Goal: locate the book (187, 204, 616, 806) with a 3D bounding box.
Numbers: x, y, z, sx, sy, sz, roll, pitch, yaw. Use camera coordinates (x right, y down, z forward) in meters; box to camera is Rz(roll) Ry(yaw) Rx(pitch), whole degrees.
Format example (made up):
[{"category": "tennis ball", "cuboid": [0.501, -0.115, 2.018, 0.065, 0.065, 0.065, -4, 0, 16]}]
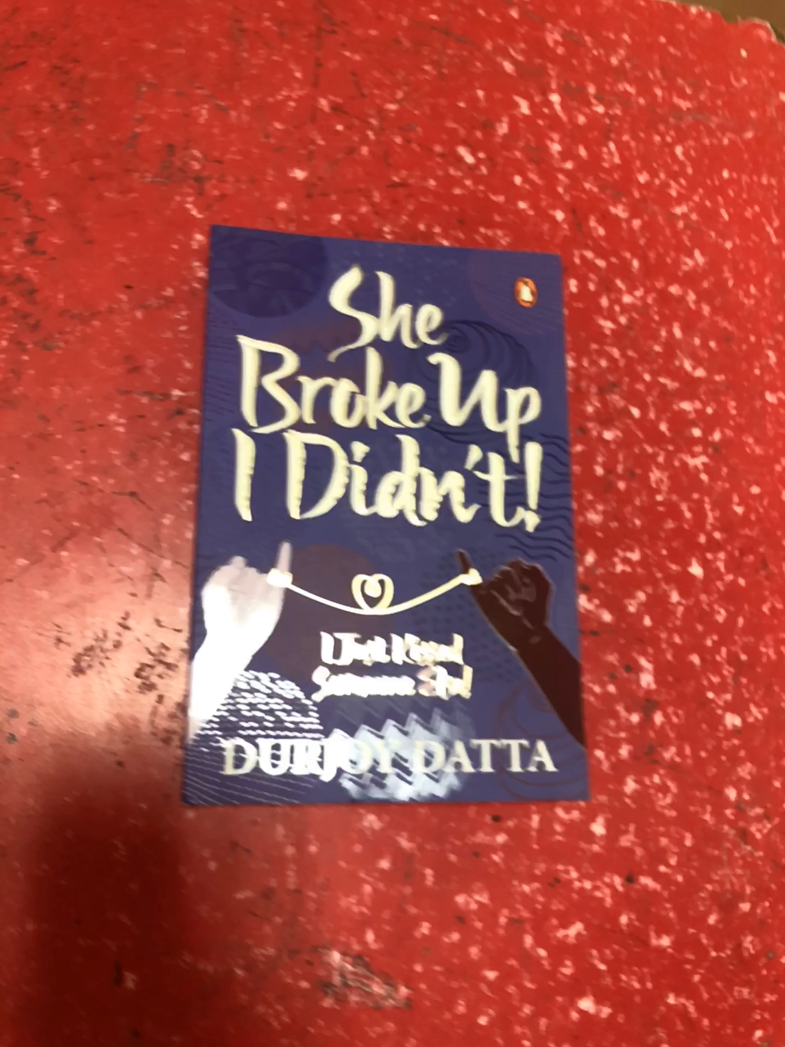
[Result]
[{"category": "book", "cuboid": [0.001, -0.006, 0.303, 0.130, 0.040, 0.190, 3, 76, -13]}]
